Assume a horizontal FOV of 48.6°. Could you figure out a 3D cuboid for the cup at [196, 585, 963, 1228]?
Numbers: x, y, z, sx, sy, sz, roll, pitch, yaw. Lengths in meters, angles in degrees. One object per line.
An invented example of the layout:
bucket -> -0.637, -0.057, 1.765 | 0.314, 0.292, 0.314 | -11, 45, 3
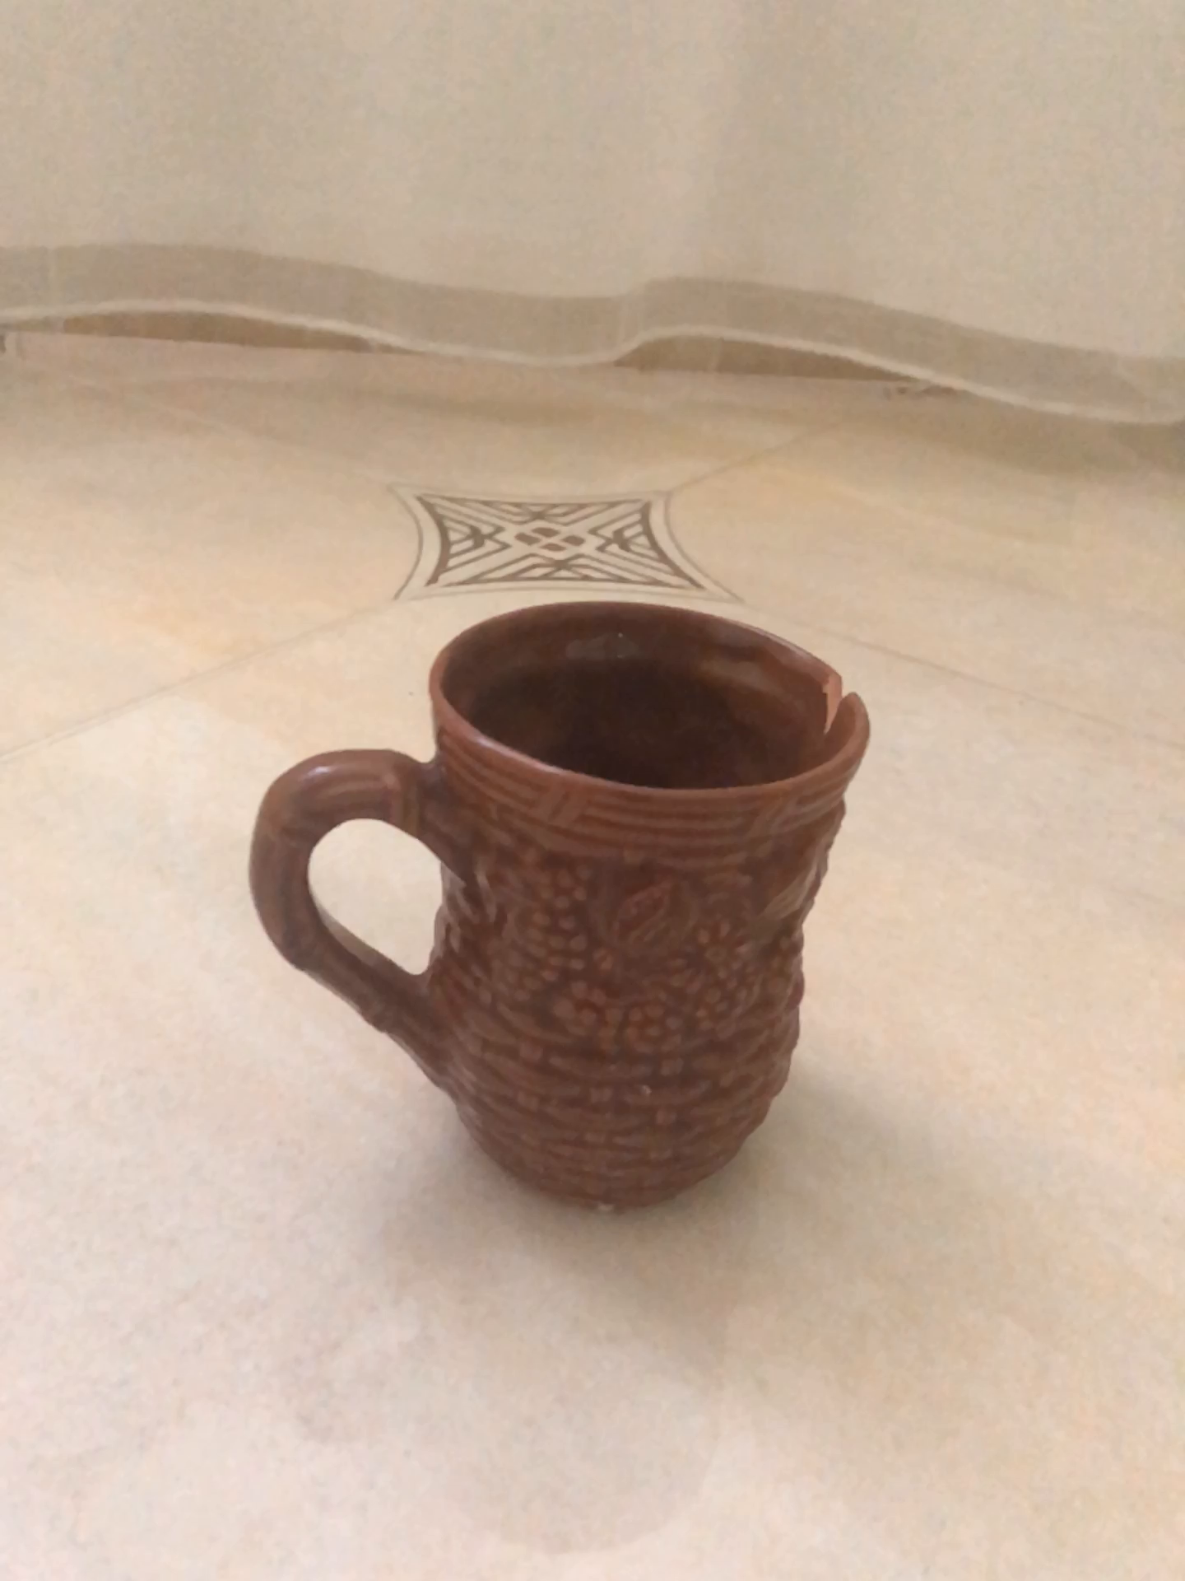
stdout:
cup -> -0.006, 0.019, 0.229 | 0.104, 0.081, 0.073 | 2, 30, -6
